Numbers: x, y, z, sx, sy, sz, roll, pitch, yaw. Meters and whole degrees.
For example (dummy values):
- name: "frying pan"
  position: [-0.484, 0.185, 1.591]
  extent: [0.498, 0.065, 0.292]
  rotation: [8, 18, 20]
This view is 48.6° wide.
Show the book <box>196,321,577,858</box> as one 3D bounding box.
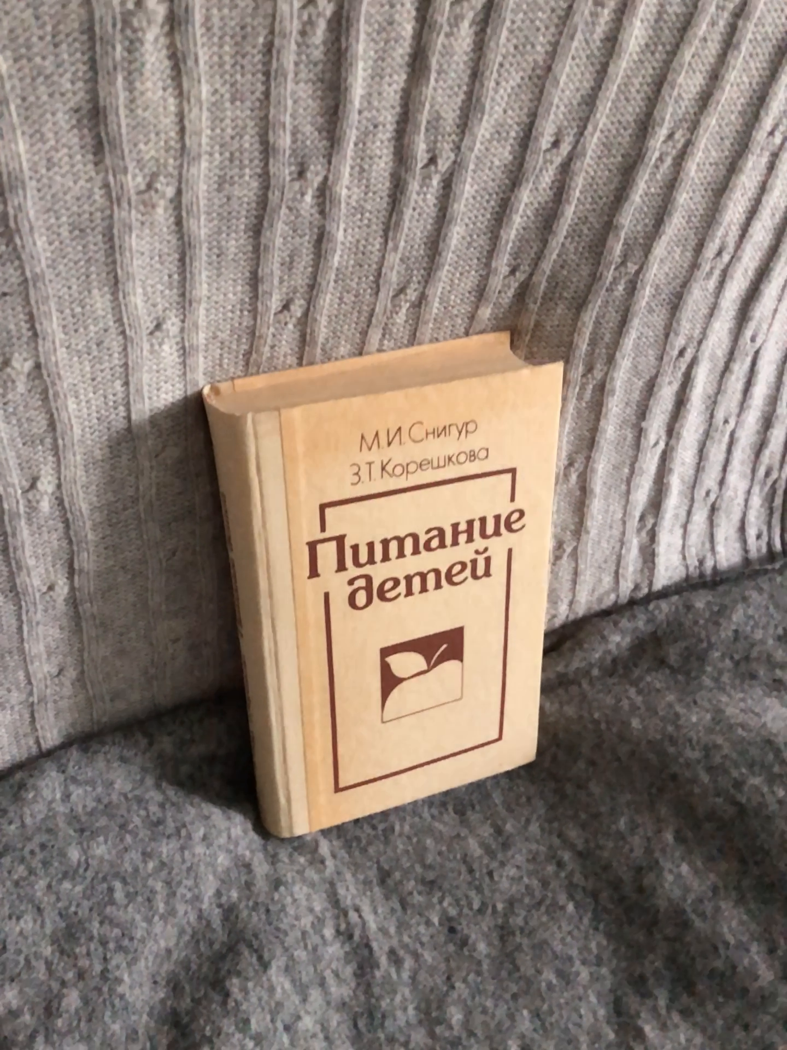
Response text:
- name: "book"
  position: [0.003, 0.031, 0.380]
  extent: [0.140, 0.212, 0.041]
  rotation: [-14, 31, -21]
